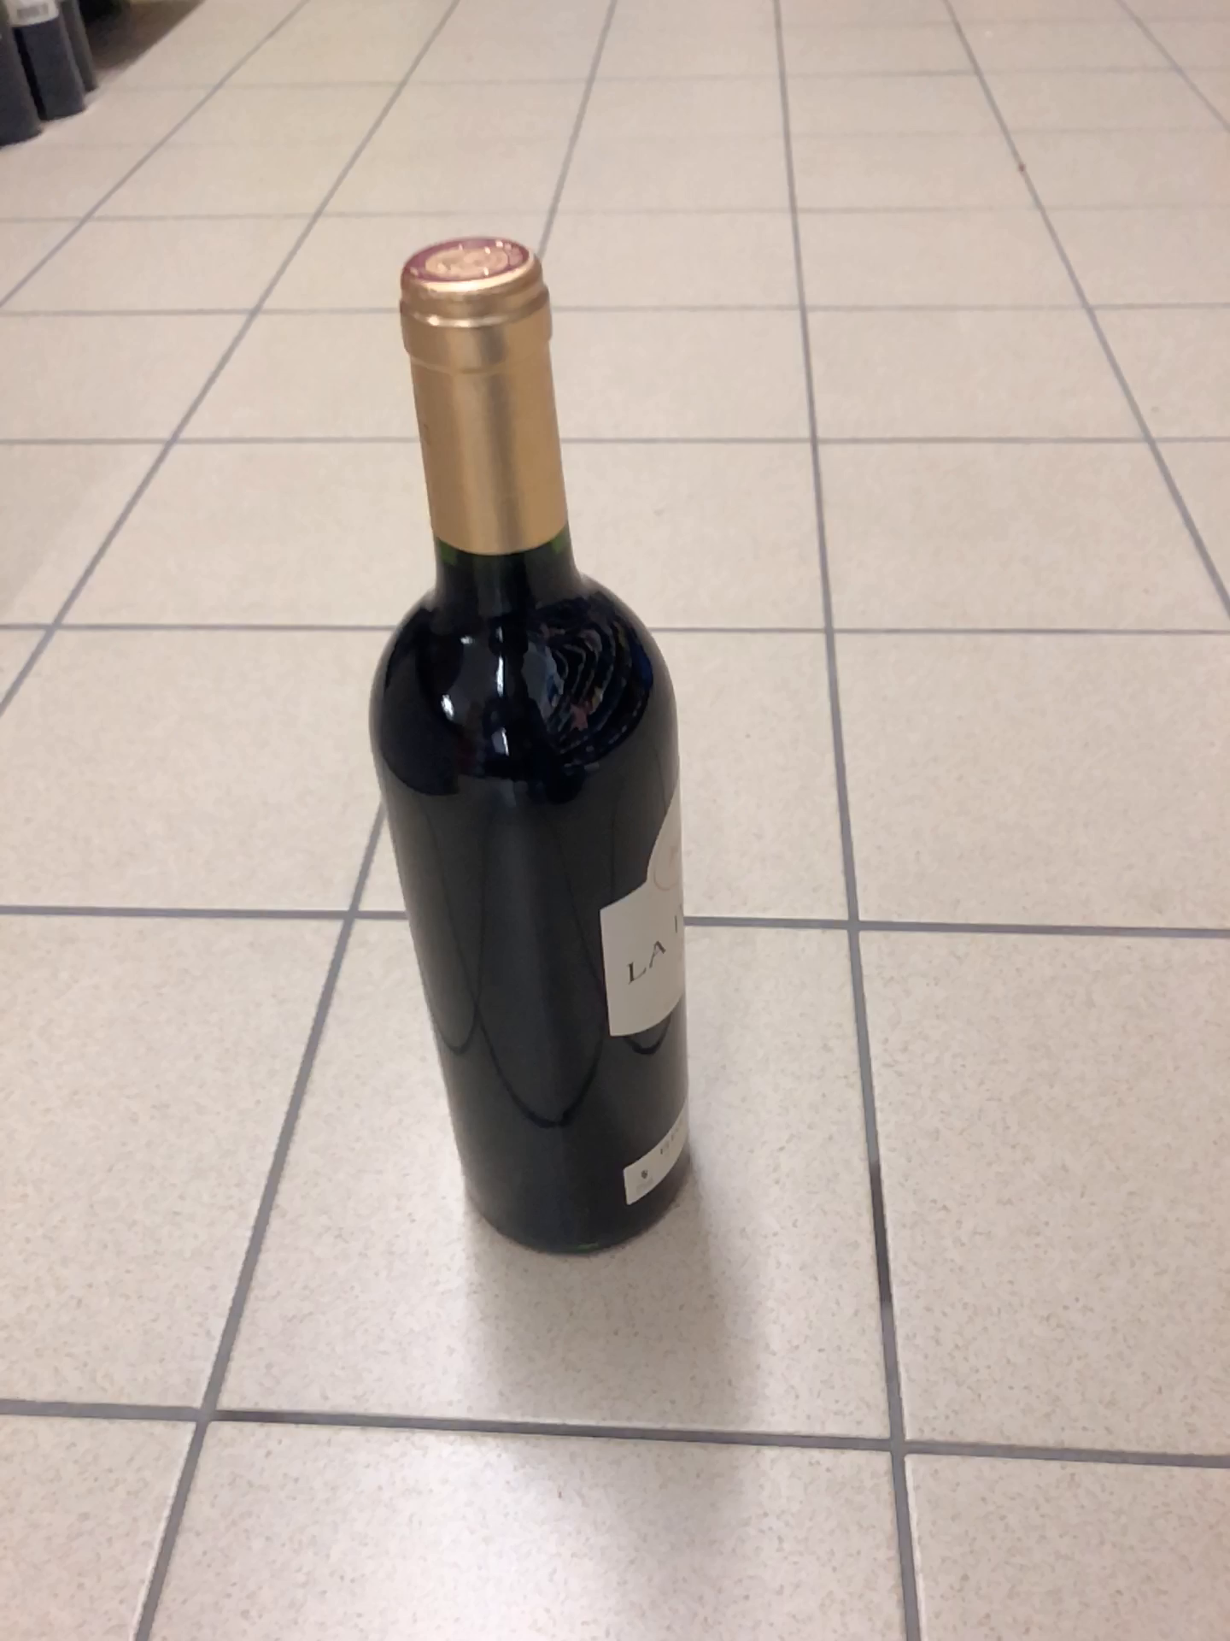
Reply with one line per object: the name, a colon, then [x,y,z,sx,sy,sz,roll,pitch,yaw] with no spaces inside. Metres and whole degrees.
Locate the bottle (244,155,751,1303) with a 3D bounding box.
bottle: [-0.017,0.002,0.344,0.080,0.288,0.091,-6,42,-3]
